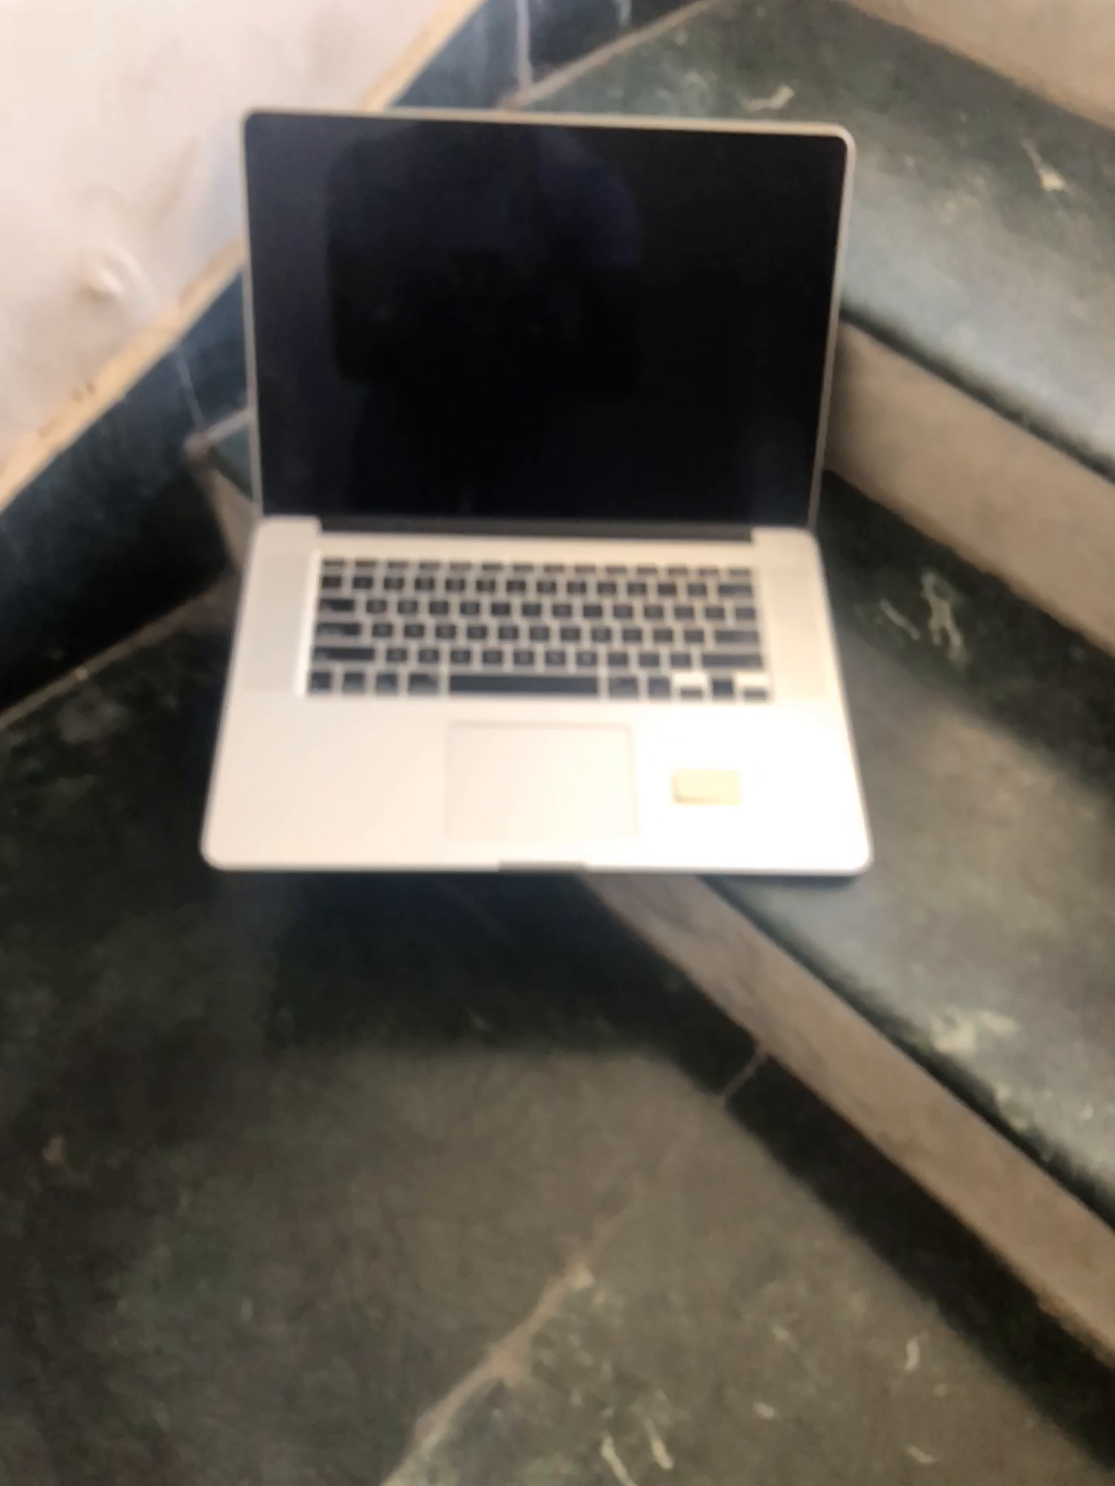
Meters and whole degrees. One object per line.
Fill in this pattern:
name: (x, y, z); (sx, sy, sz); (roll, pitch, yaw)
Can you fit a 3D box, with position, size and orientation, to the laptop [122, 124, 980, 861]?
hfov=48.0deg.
laptop: (-0.011, -0.142, 0.682); (0.341, 0.194, 0.365); (0, 55, -3)
